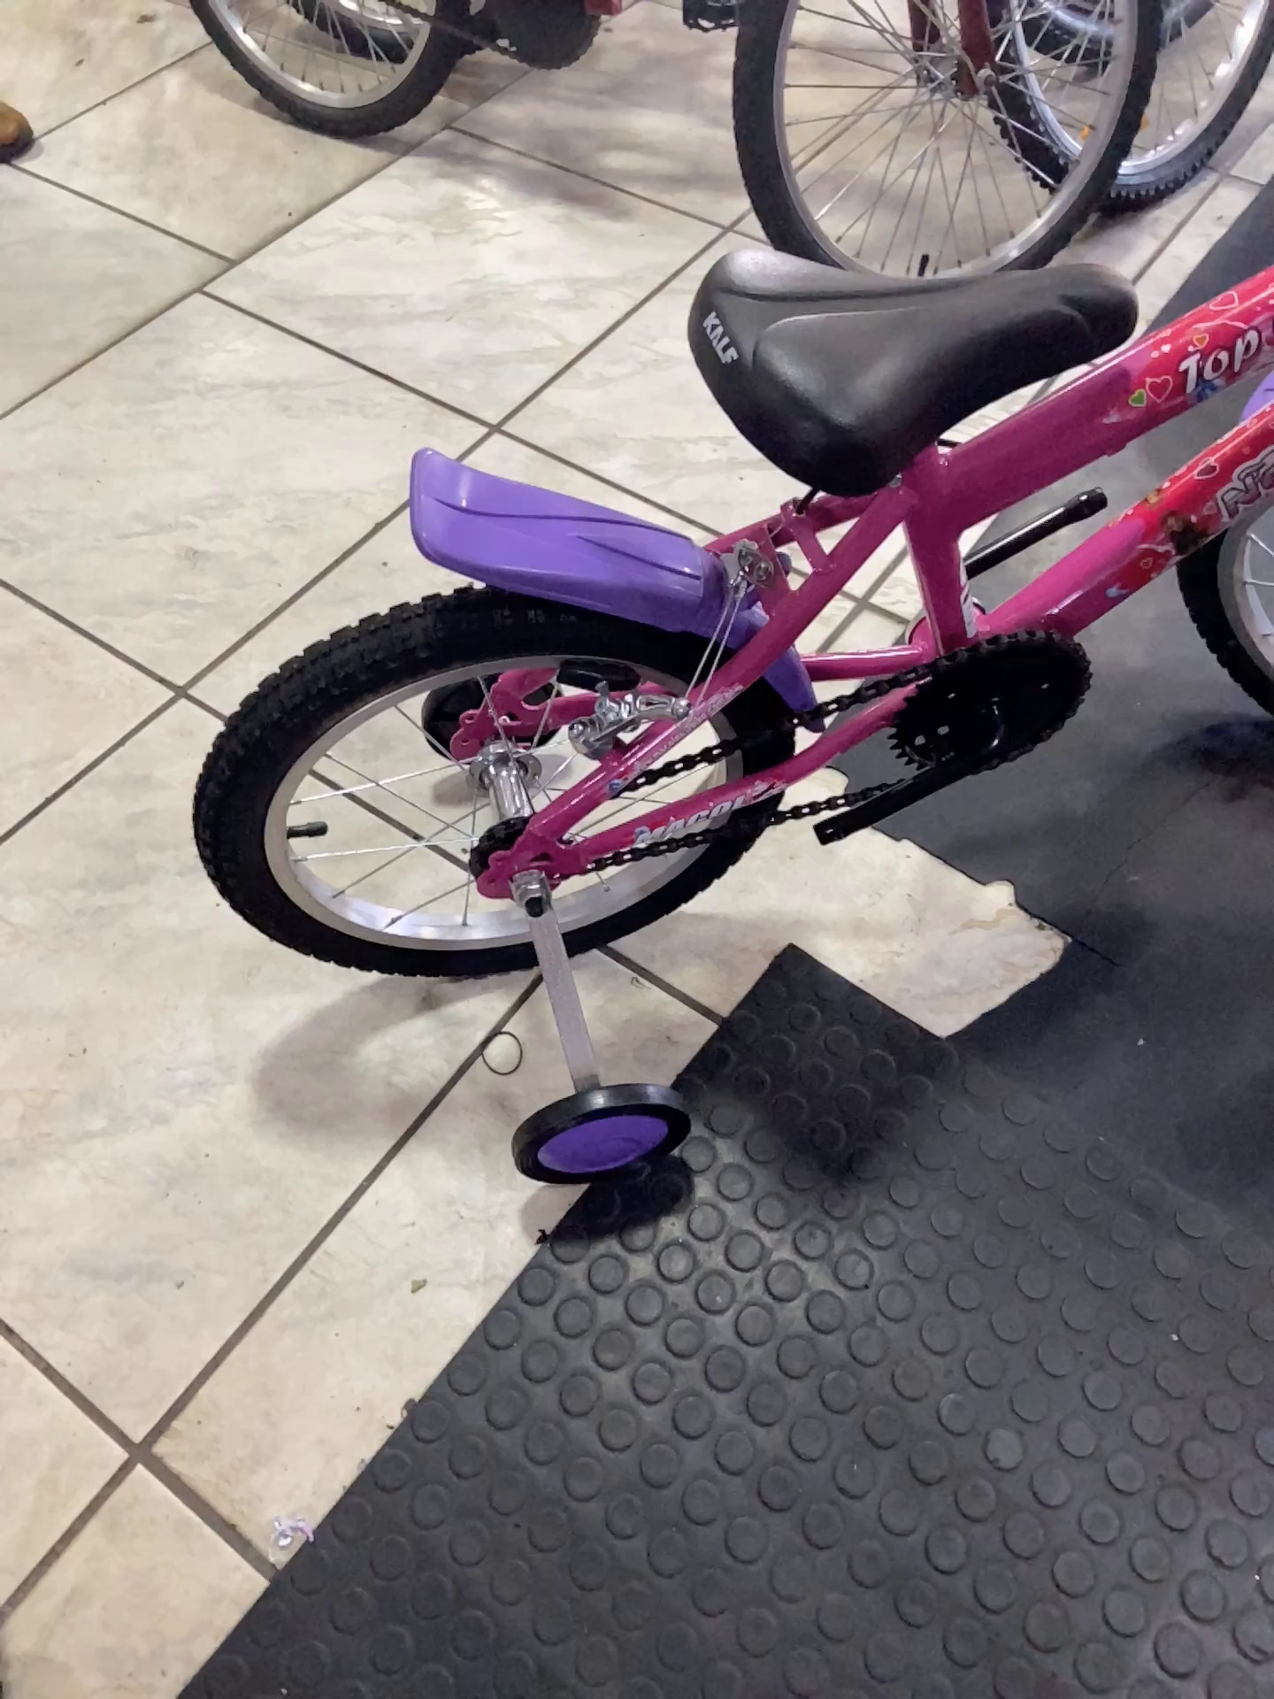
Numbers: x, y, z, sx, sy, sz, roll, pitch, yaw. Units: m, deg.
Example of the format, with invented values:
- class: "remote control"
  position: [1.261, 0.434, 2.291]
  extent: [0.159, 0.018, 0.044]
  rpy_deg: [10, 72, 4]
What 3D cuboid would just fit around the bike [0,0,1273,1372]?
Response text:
- class: "bike"
  position: [0.260, -0.113, 0.671]
  extent: [0.921, 0.703, 0.548]
  rpy_deg: [-4, 55, -4]
